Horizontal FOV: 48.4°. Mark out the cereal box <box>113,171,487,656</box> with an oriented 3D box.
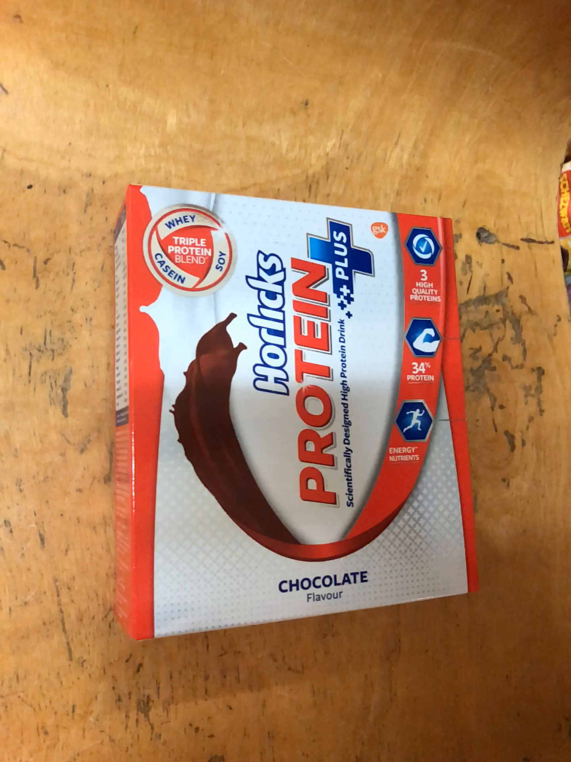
[{"bbox_3d":[0.006,0.010,0.261,0.140,0.050,0.160,0,85,-23],"label":"cereal box"}]
